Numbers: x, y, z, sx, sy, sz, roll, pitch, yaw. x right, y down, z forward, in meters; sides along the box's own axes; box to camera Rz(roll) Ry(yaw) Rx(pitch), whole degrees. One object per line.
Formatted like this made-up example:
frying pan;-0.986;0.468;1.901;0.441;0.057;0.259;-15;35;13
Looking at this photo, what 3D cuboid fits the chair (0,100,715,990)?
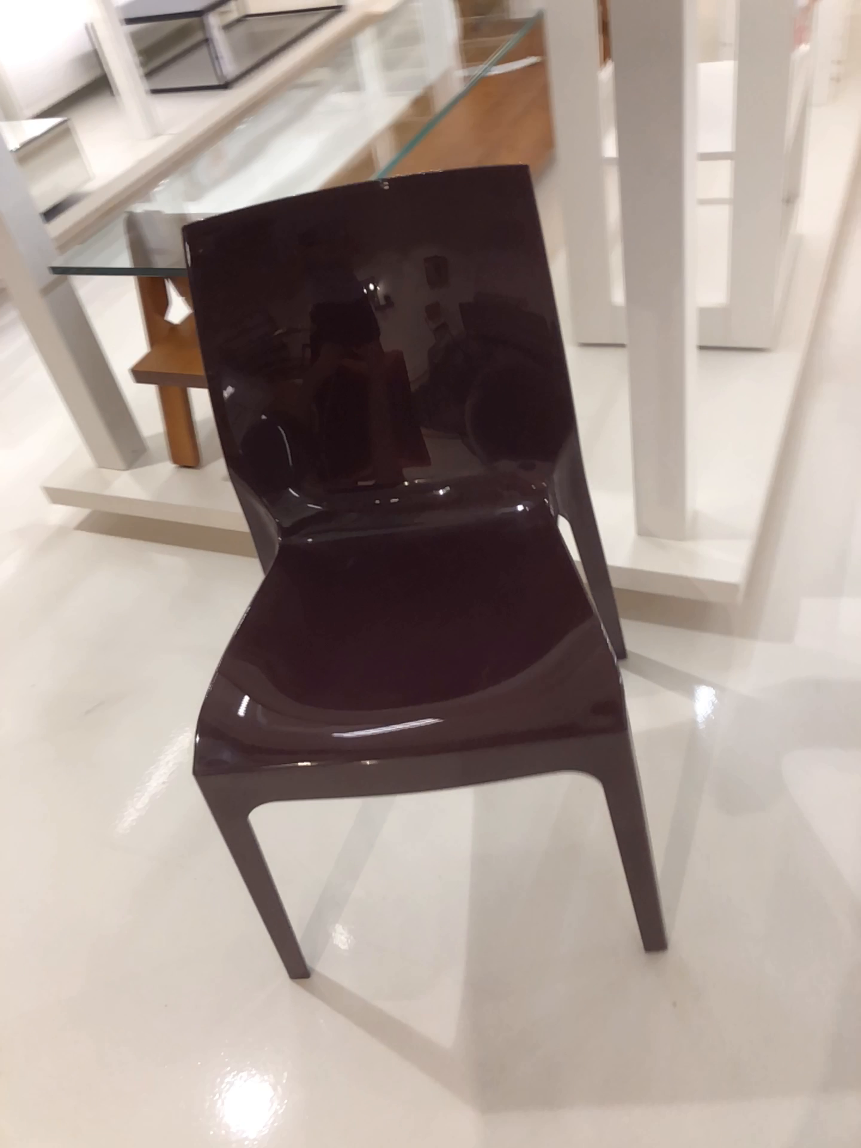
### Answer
chair;-0.009;0.009;1.114;0.530;0.814;0.564;-8;42;7
